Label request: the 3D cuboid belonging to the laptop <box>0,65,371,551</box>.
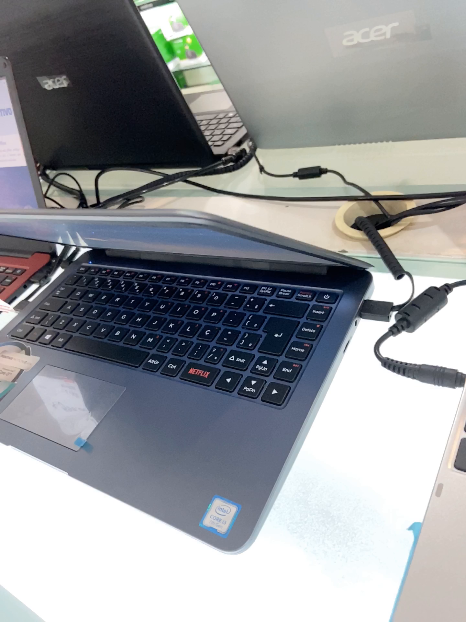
[{"bbox_3d":[-0.103,-0.028,0.335,0.317,0.145,0.211,8,48,34],"label":"laptop"}]
